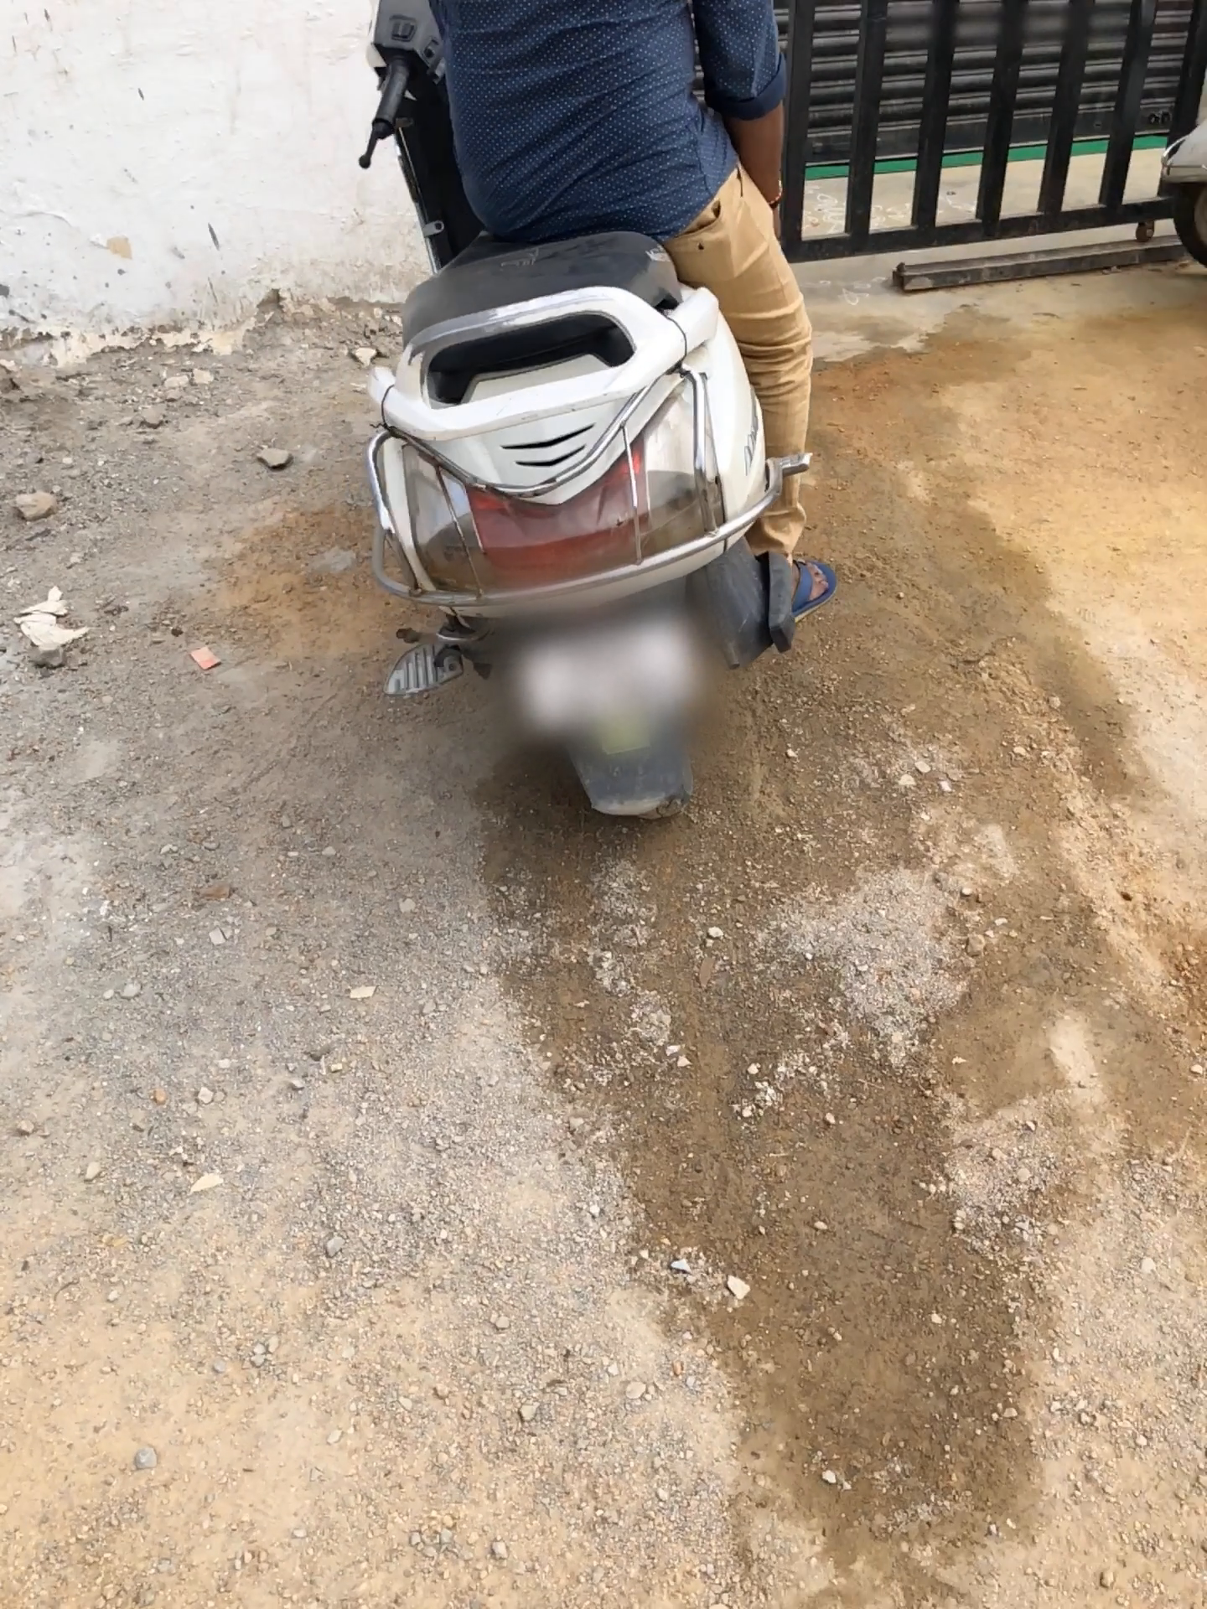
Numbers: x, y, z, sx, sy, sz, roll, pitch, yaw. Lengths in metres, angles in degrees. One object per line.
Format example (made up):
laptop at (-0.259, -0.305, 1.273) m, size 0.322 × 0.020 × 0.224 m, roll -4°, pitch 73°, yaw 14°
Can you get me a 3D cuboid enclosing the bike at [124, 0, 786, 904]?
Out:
bike at (-0.246, -0.915, 2.119) m, size 0.600 × 1.231 × 1.563 m, roll -6°, pitch 41°, yaw -6°
